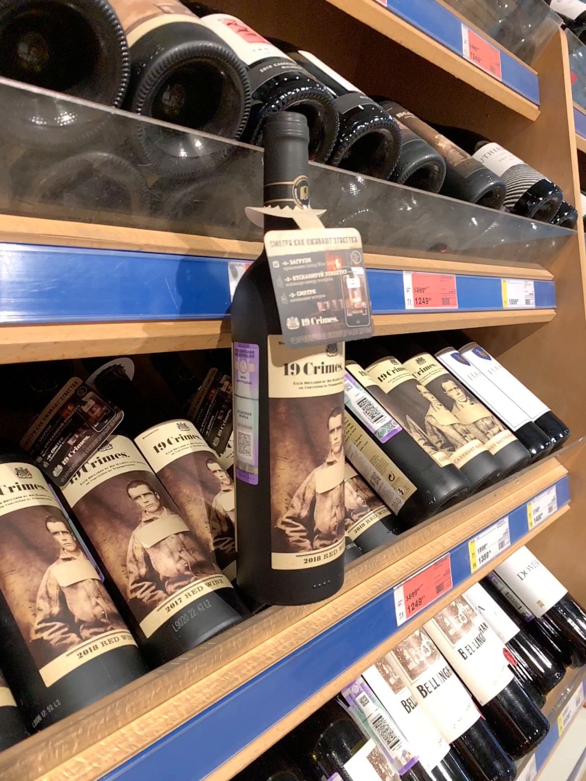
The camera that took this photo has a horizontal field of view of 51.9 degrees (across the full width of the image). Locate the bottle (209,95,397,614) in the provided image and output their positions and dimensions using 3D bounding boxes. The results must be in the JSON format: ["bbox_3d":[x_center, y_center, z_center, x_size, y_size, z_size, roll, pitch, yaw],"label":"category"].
[{"bbox_3d":[0.005,-0.021,0.406,0.081,0.300,0.087,2,8,0],"label":"bottle"}]
